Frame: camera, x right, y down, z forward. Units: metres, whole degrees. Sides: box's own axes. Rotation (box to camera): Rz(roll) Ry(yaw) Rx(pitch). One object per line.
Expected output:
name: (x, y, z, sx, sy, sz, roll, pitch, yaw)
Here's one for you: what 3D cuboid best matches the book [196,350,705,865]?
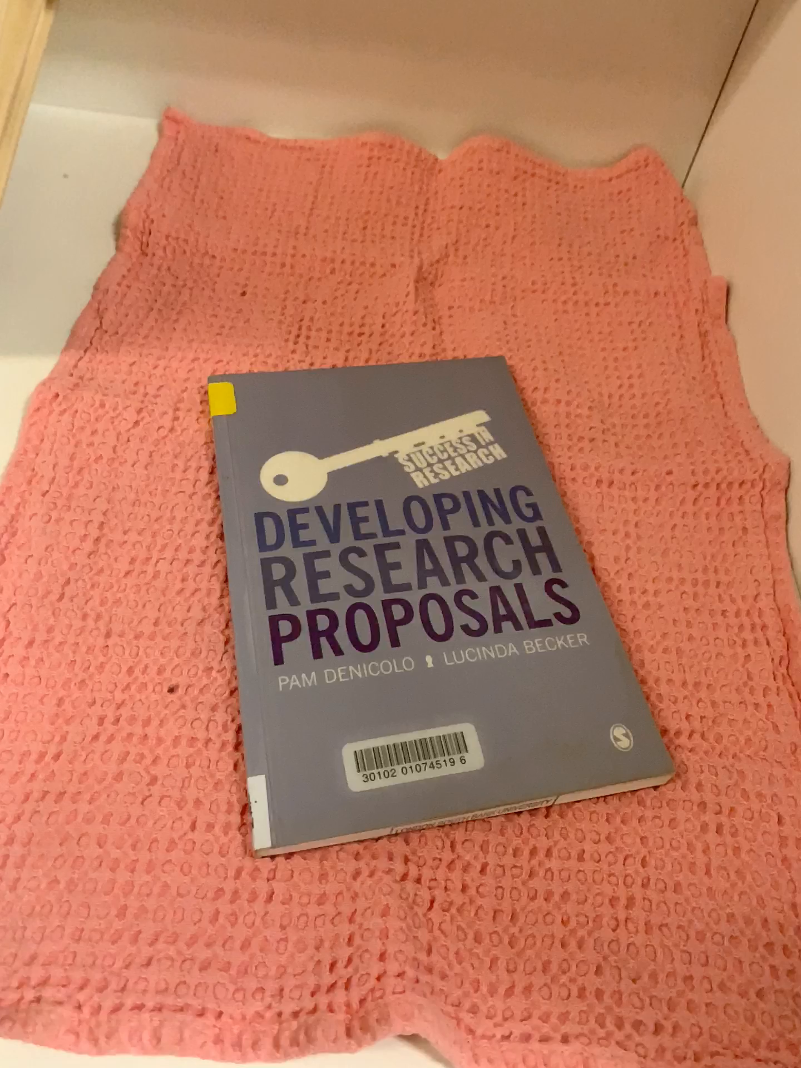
book: (0.006, 0.007, 0.358, 0.165, 0.015, 0.231, -7, 54, -12)
